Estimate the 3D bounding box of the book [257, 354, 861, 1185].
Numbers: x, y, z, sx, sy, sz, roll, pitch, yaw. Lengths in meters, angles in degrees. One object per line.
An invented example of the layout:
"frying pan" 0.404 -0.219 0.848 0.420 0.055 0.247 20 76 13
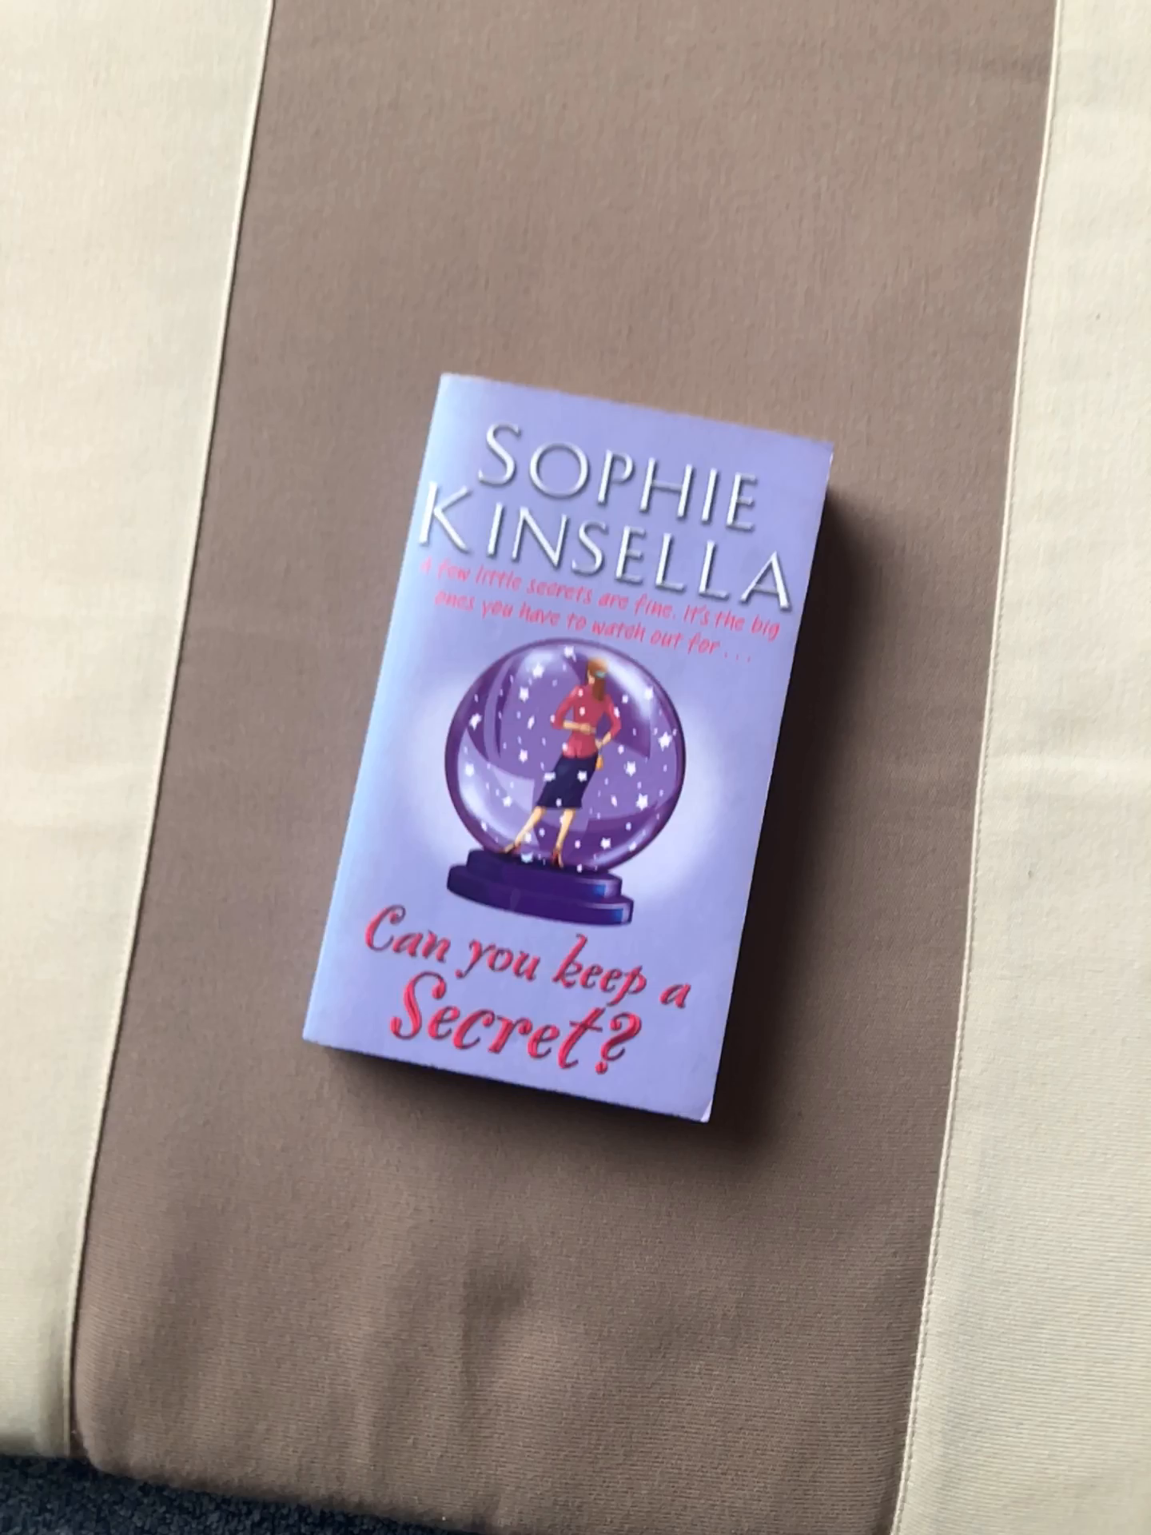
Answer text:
"book" -0.003 0.000 0.323 0.110 0.040 0.180 11 86 1
